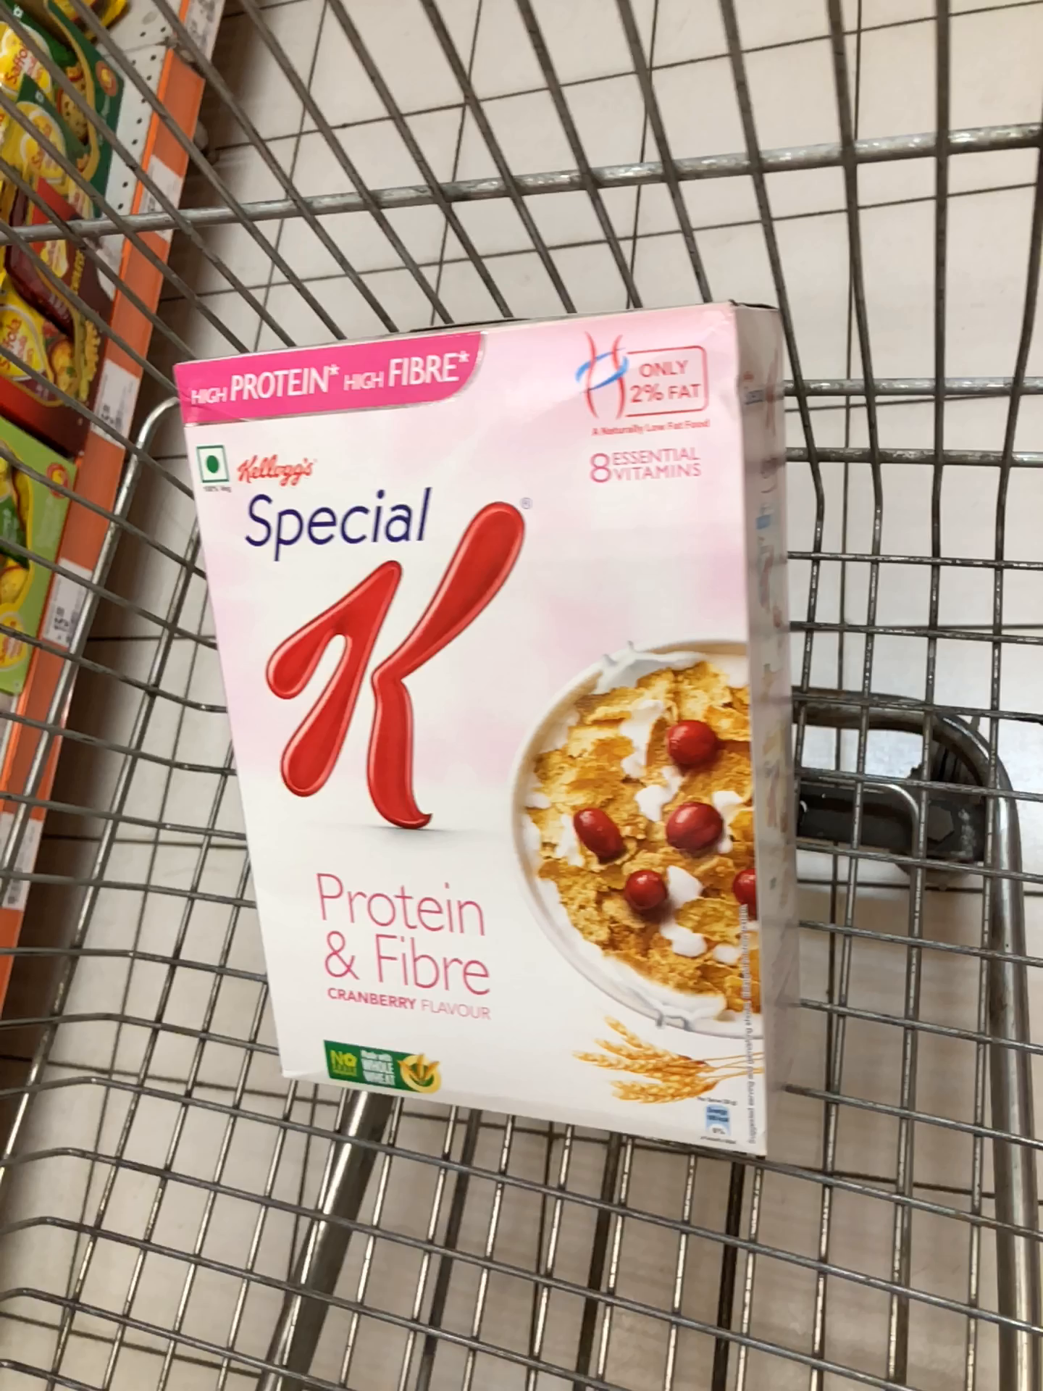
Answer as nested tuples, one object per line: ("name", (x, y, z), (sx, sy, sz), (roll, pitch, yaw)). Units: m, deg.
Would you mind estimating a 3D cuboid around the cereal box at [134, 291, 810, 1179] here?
("cereal box", (-0.003, 0.009, 0.409), (0.190, 0.100, 0.269), (1, 108, 21))
